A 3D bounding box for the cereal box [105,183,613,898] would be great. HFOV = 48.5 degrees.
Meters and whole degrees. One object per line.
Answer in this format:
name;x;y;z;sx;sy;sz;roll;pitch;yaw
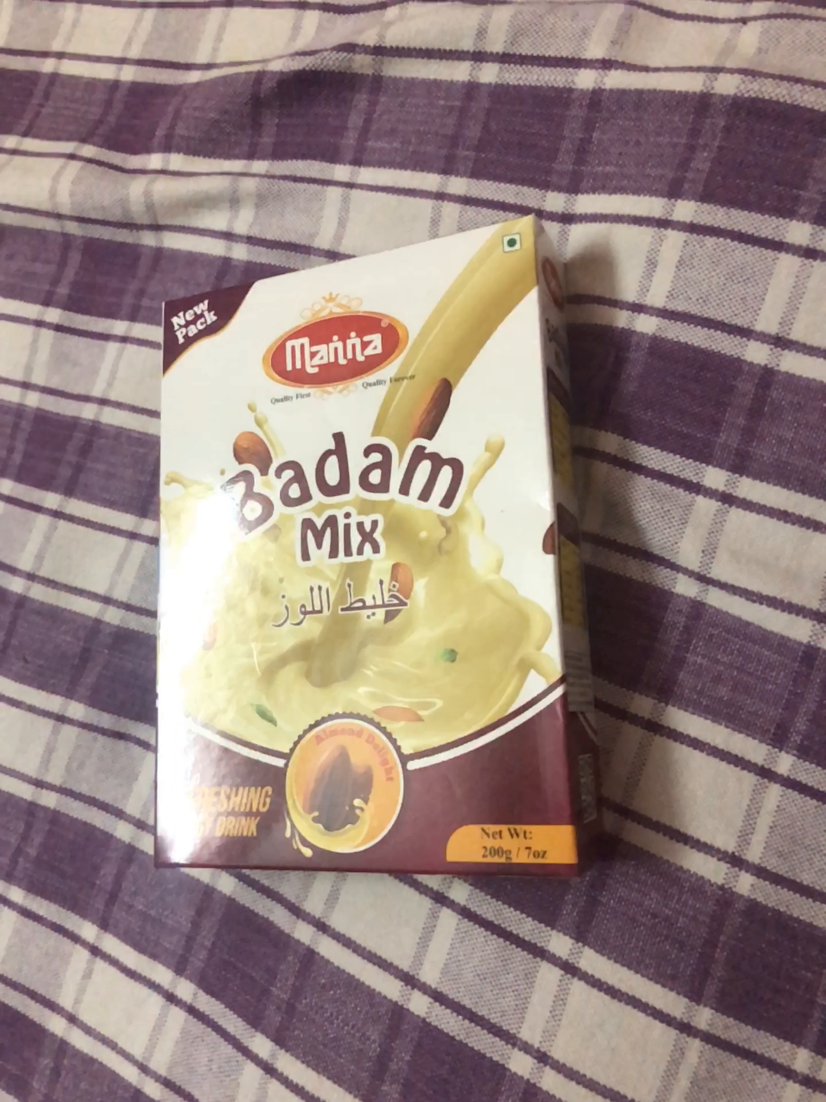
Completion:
cereal box;-0.018;0.002;0.270;0.130;0.050;0.180;-7;77;19
